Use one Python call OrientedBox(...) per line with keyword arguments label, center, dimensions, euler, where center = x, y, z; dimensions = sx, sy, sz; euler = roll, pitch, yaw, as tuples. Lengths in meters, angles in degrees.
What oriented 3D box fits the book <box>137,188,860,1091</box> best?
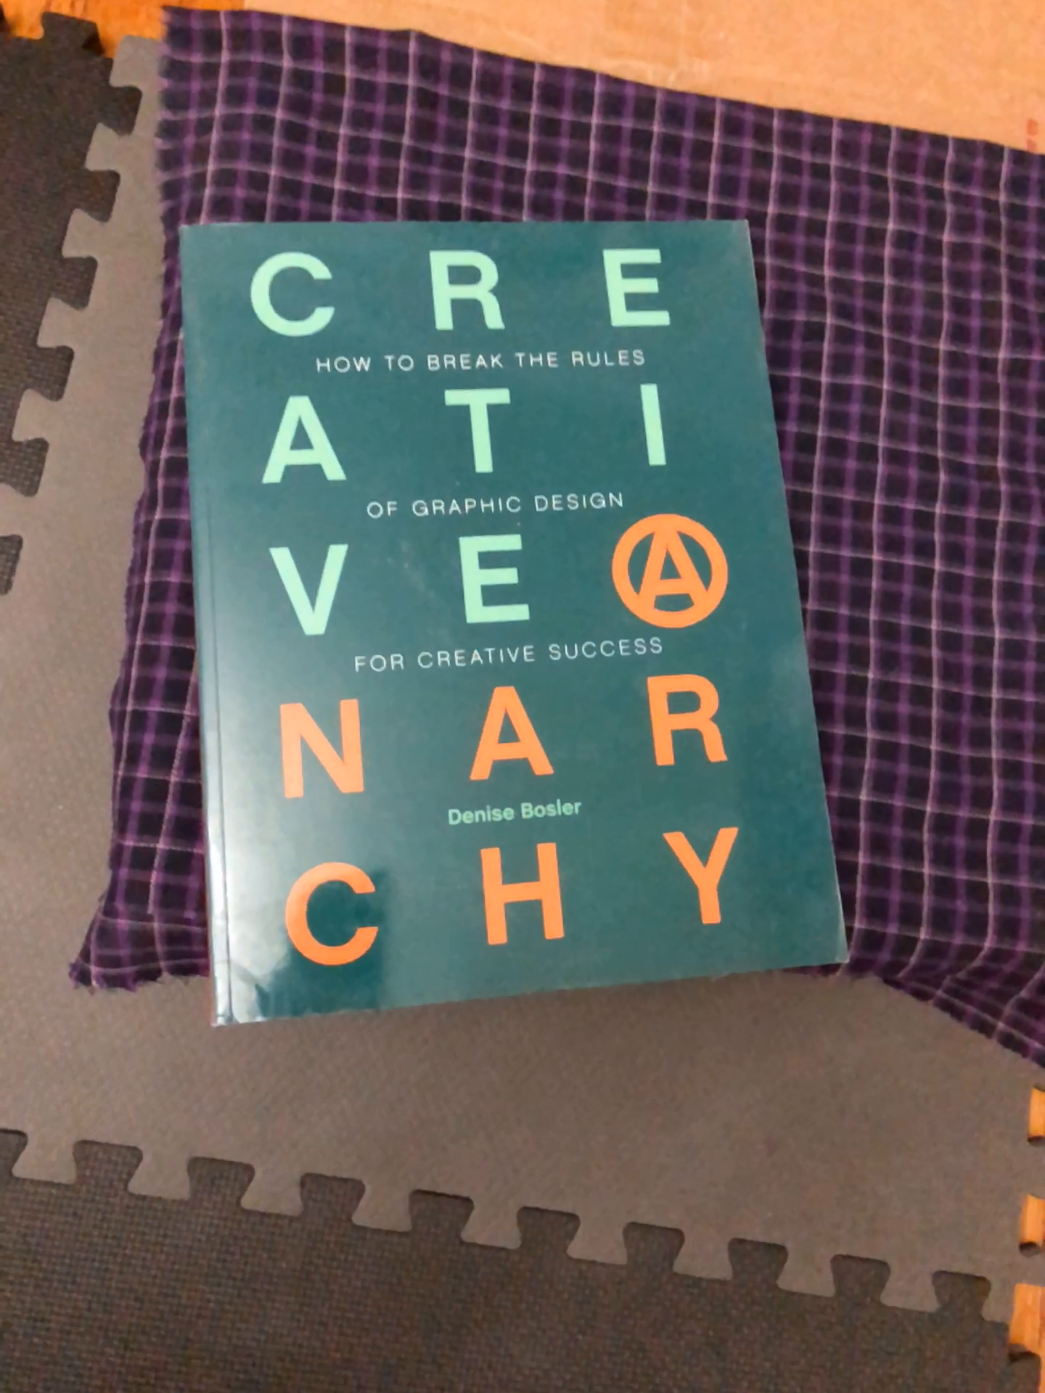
OrientedBox(label="book", center=(-0.013, -0.033, 0.401), dimensions=(0.220, 0.020, 0.300), euler=(-4, 80, -7))
